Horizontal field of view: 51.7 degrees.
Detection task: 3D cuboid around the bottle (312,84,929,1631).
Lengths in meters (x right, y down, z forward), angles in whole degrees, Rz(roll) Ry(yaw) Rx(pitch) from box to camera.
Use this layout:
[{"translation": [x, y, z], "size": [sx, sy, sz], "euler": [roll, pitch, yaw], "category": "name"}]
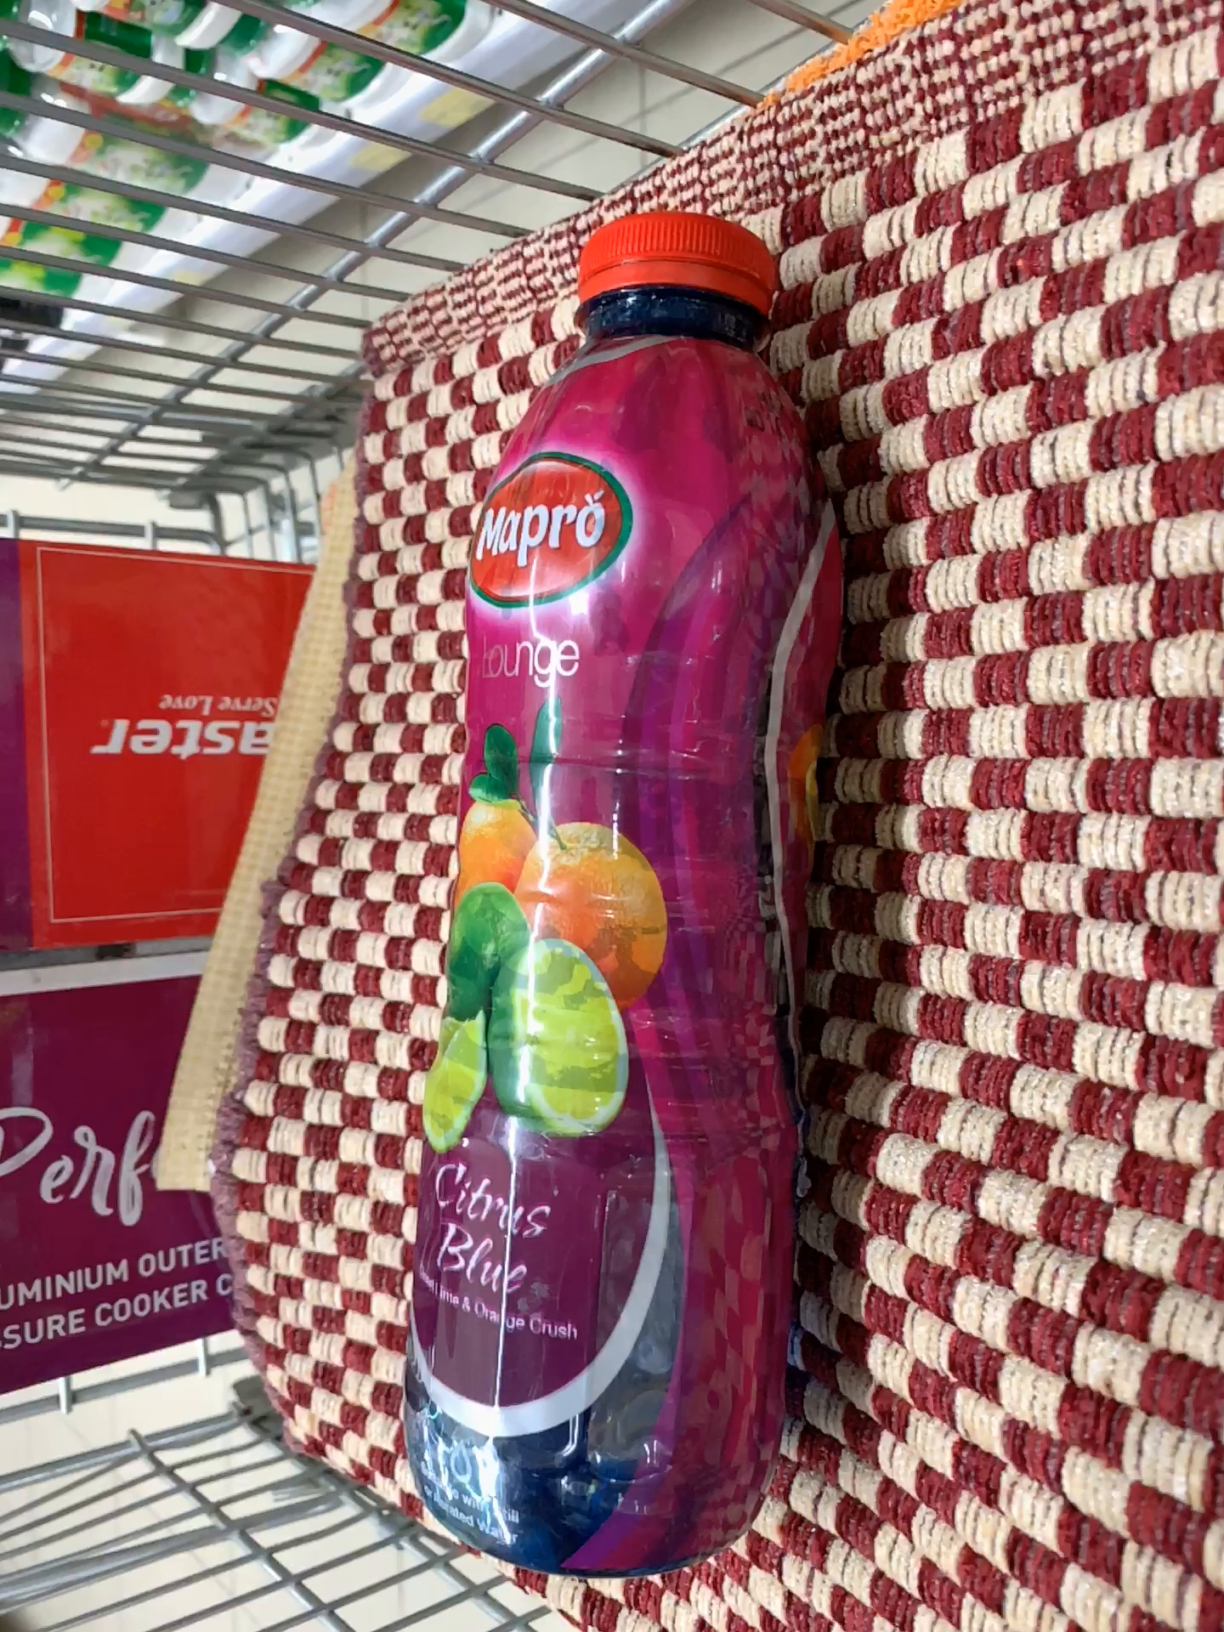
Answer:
[{"translation": [0.002, 0.017, 0.244], "size": [0.091, 0.070, 0.250], "euler": [4, 96, 40], "category": "bottle"}]
